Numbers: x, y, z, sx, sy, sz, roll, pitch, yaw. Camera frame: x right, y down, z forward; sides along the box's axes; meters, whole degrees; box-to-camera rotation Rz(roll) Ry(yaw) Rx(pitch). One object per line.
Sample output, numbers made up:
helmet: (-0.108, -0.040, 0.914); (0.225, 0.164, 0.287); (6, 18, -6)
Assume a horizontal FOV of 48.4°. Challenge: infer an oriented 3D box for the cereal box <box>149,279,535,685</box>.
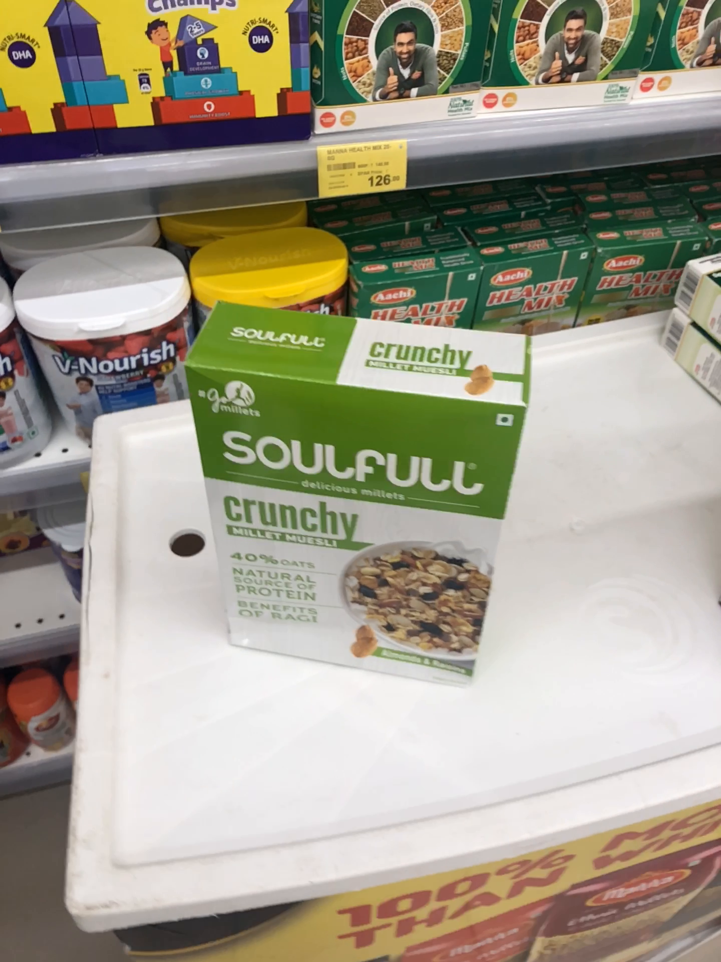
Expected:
cereal box: (-0.005, 0.014, 0.488); (0.180, 0.249, 0.070); (9, 48, 9)
